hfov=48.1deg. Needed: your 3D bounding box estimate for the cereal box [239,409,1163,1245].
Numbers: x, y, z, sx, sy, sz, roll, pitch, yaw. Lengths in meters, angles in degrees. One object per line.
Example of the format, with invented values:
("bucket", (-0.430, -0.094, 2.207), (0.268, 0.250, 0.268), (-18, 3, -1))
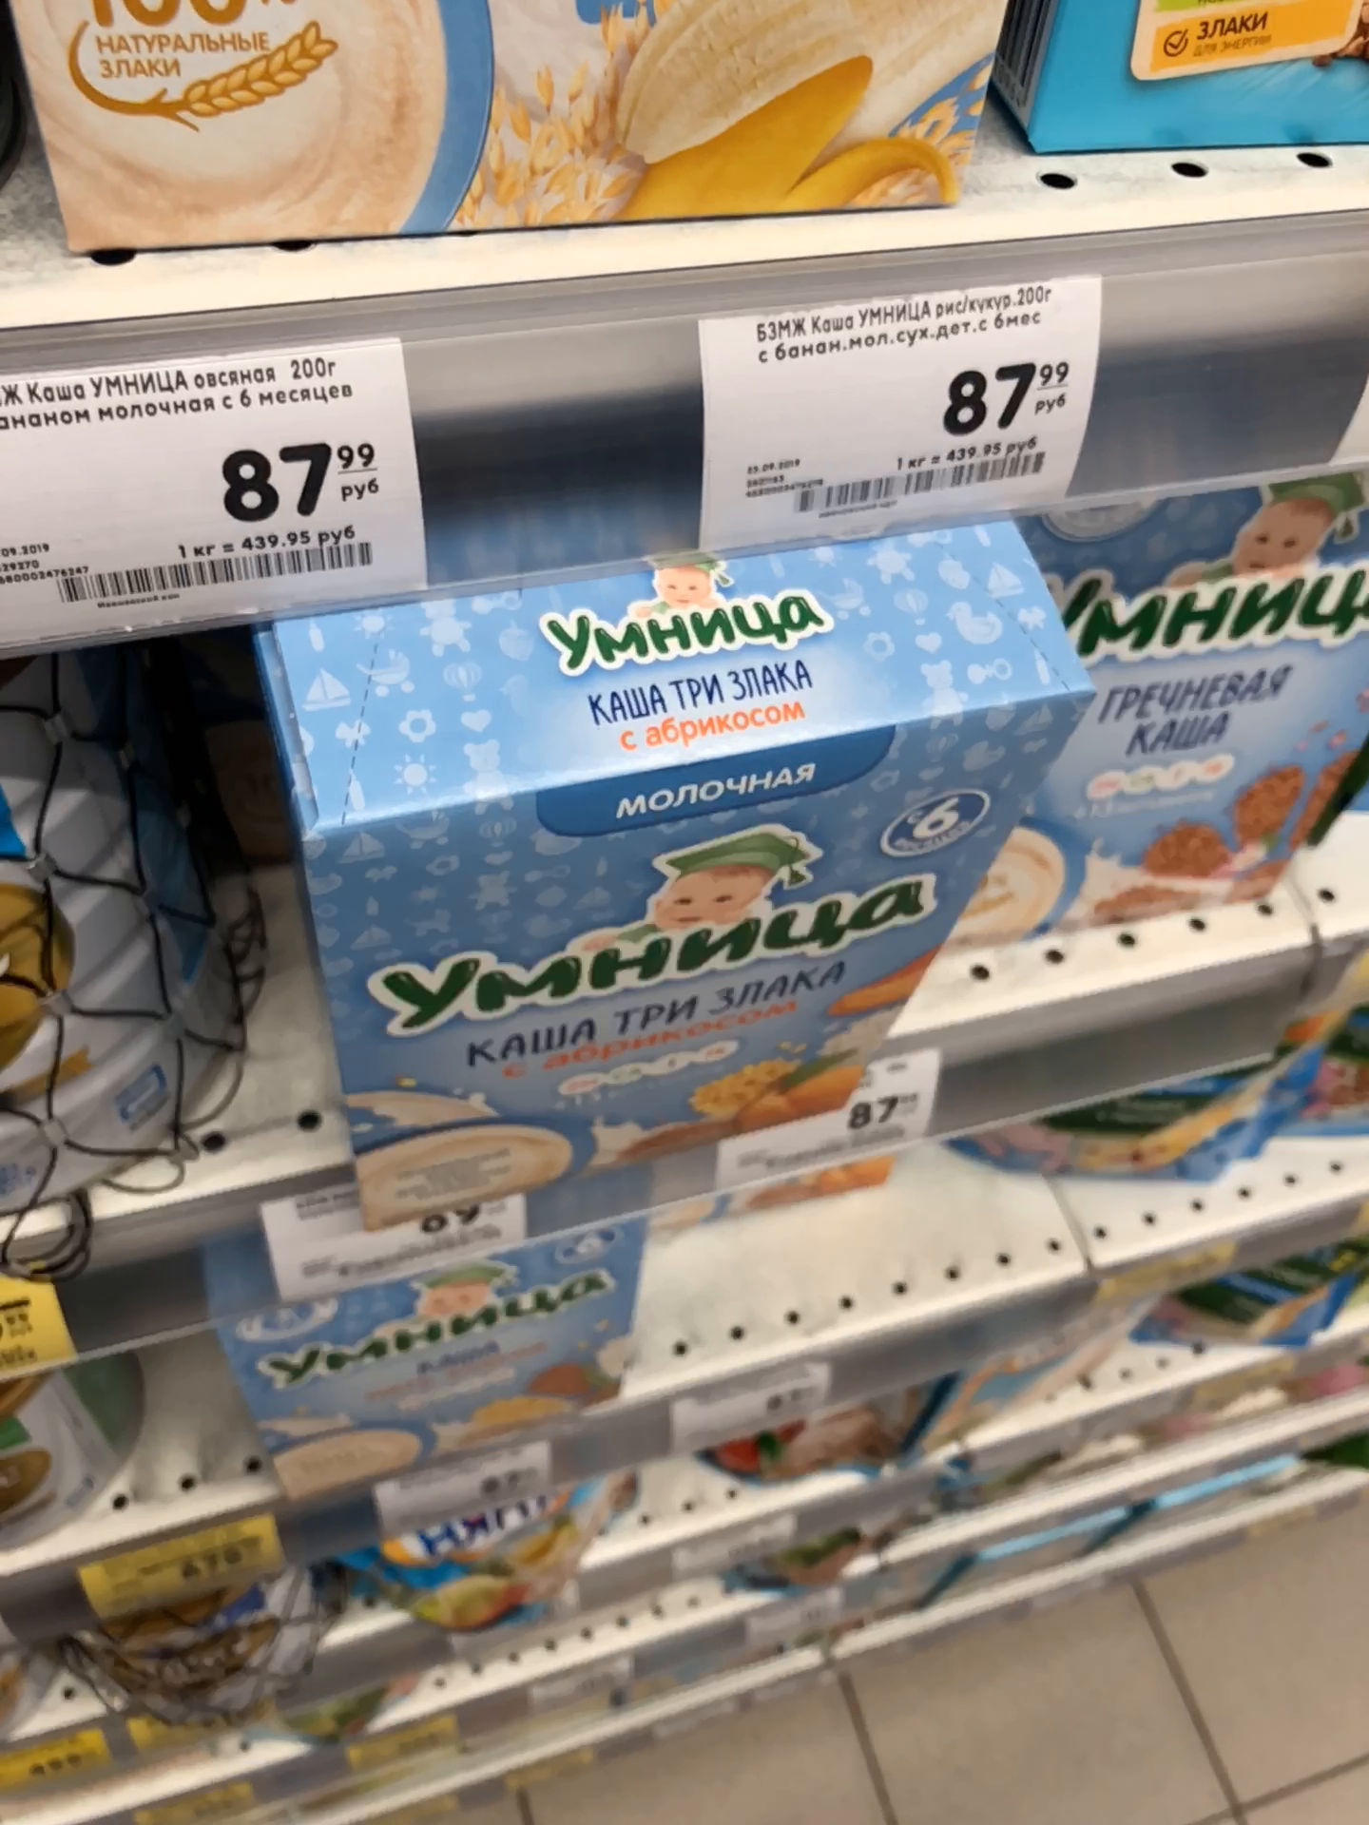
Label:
("cereal box", (-0.011, -0.003, 0.339), (0.140, 0.209, 0.060), (-11, 64, -15))
